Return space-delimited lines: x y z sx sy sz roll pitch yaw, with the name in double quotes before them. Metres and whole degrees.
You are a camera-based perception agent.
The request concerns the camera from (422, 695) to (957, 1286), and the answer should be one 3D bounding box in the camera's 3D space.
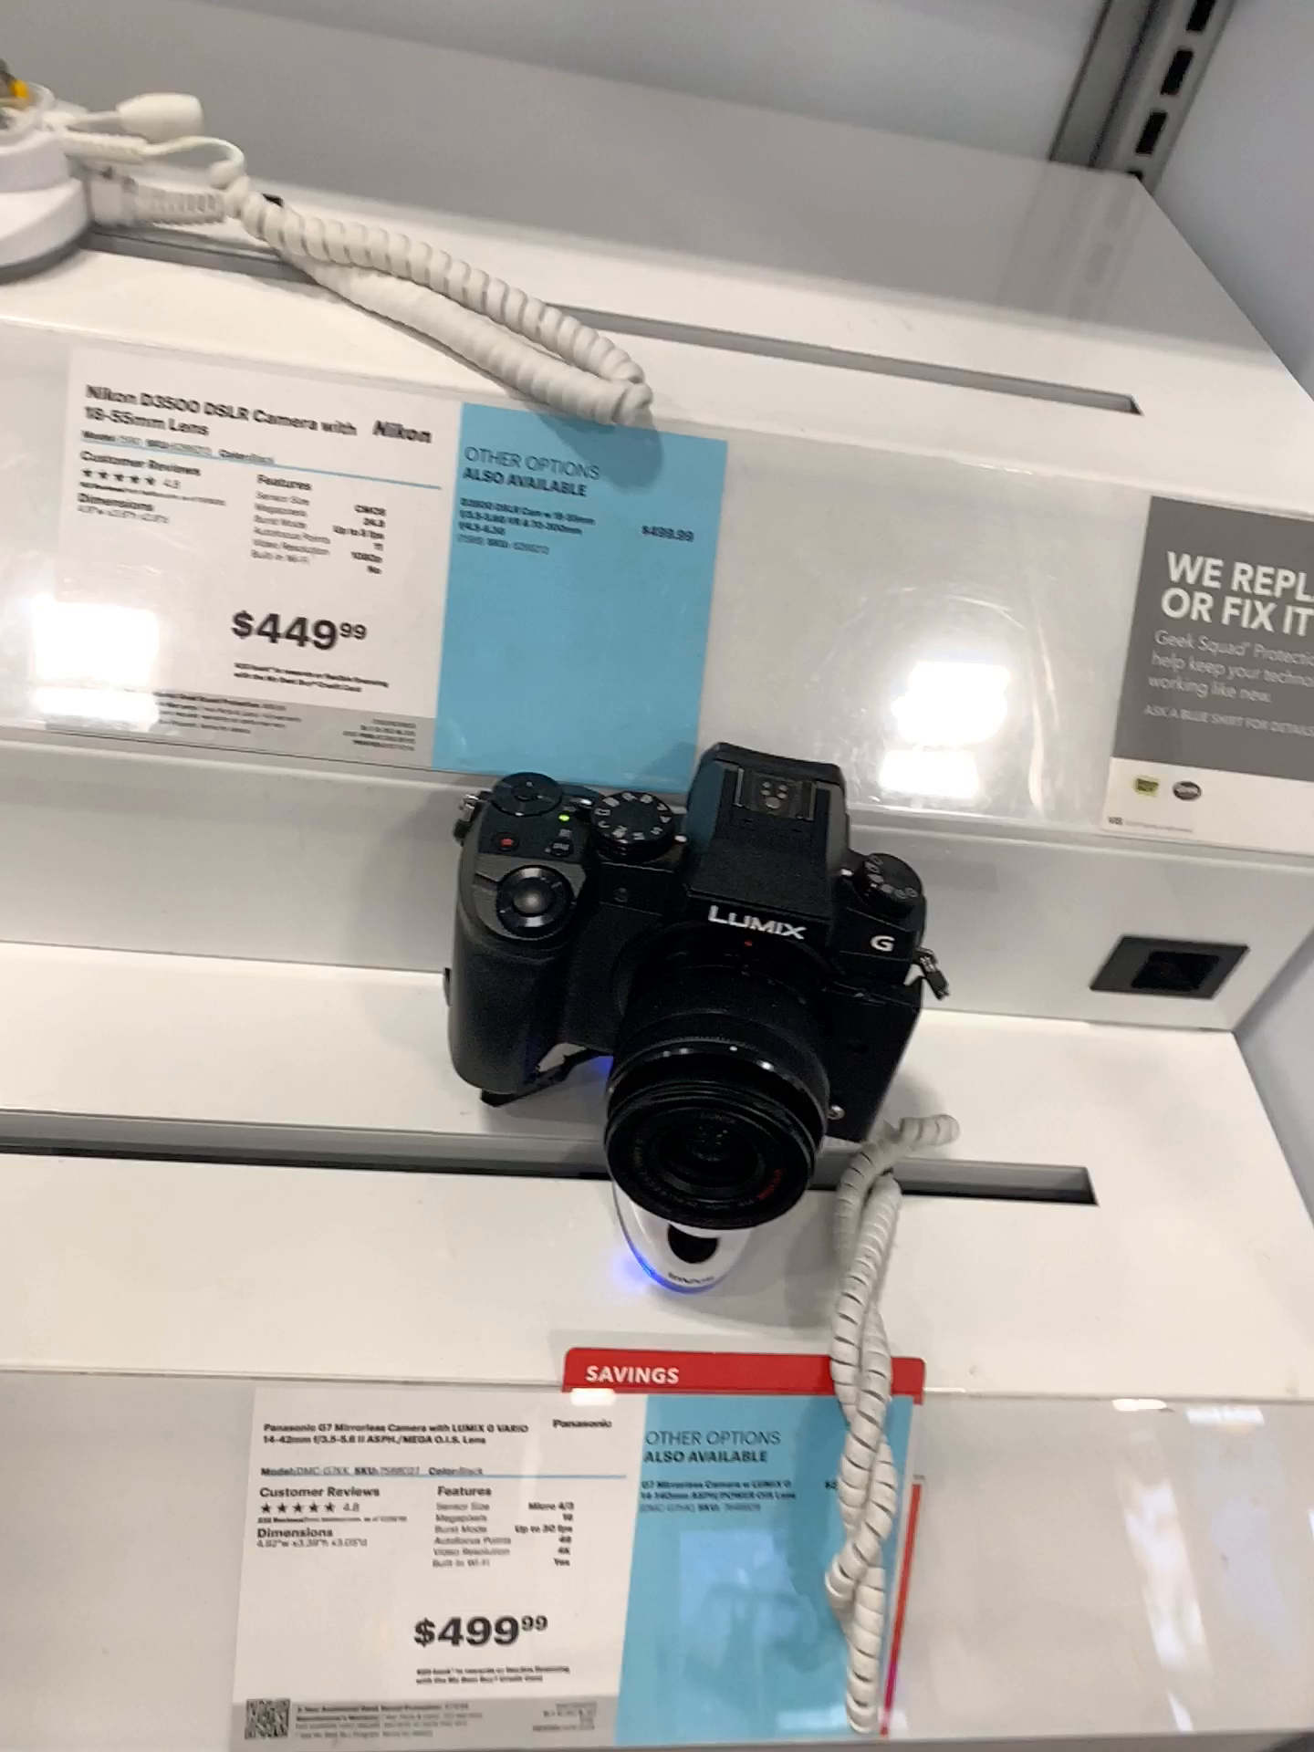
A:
"camera" 0.010 0.029 0.369 0.118 0.080 0.115 12 45 -2
